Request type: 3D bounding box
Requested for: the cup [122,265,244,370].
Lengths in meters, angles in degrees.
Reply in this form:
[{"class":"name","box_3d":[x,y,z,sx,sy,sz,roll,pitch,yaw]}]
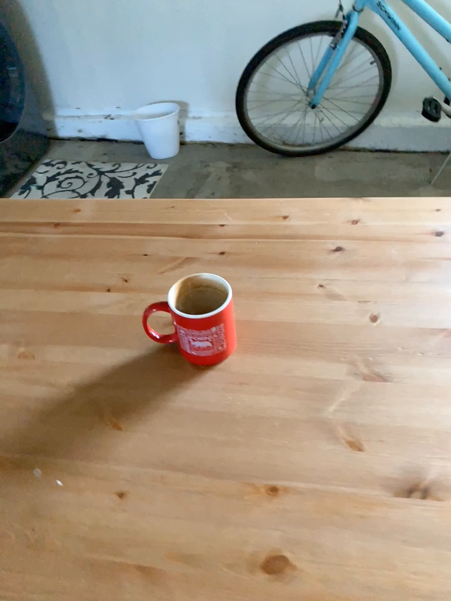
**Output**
[{"class":"cup","box_3d":[-0.048,0.022,0.603,0.130,0.100,0.090,0,46,9]}]
